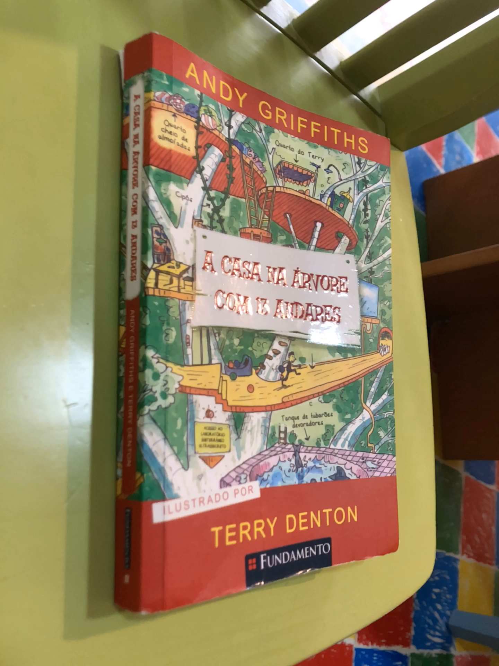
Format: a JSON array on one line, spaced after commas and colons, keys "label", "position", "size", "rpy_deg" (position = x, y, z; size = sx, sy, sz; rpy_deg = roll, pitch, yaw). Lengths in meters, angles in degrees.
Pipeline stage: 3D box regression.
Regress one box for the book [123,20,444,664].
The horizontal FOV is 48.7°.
[{"label": "book", "position": [0.020, 0.002, 0.236], "size": [0.138, 0.040, 0.210], "rpy_deg": [7, 78, -39]}]
